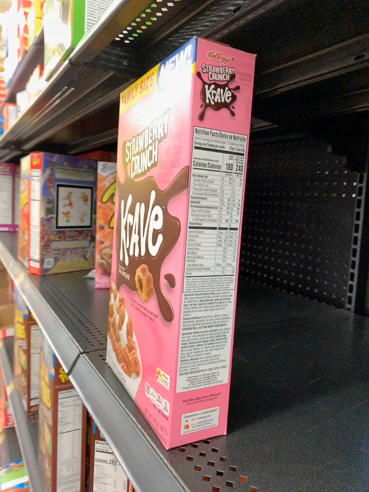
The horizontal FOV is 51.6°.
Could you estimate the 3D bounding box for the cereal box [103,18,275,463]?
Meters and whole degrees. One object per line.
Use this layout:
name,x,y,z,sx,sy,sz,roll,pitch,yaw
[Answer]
cereal box,-0.016,-0.008,0.383,0.060,0.330,0.200,2,6,-27
